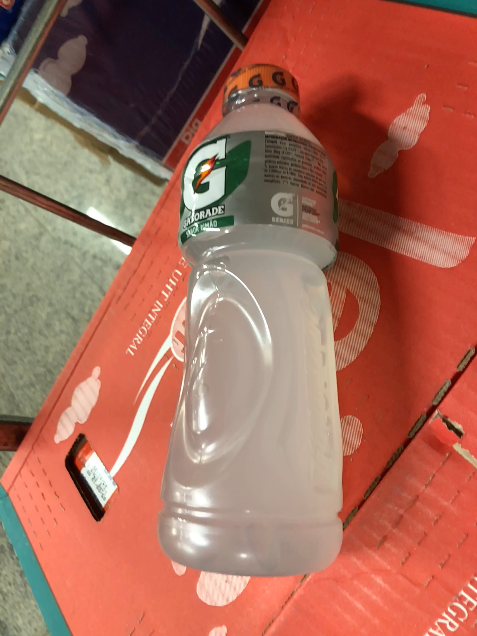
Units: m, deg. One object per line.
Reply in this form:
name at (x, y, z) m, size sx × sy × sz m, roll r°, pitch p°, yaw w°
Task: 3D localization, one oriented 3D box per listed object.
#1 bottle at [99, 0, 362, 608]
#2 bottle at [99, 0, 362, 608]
bottle at (0.002, -0.012, 0.215) m, size 0.070 × 0.060 × 0.210 m, roll -9°, pitch 70°, yaw 37°
bottle at (0.002, -0.012, 0.215) m, size 0.070 × 0.060 × 0.210 m, roll -9°, pitch 70°, yaw 37°
